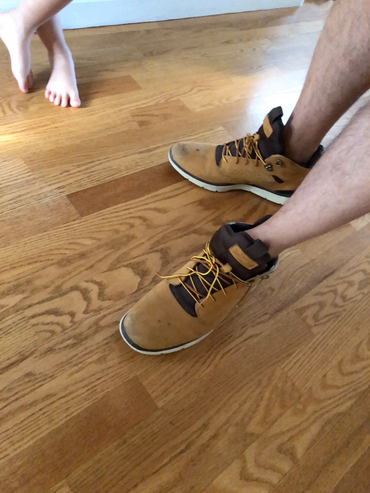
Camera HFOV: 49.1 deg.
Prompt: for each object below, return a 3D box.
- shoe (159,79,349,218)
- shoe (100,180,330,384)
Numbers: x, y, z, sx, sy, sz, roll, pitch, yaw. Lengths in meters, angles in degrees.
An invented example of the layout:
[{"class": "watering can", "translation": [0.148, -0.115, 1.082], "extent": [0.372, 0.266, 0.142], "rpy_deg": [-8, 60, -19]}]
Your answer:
[{"class": "shoe", "translation": [0.123, -0.178, 0.778], "extent": [0.310, 0.149, 0.121], "rpy_deg": [12, 53, -12]}, {"class": "shoe", "translation": [0.045, 0.039, 0.573], "extent": [0.291, 0.139, 0.120], "rpy_deg": [-29, 70, -33]}]
